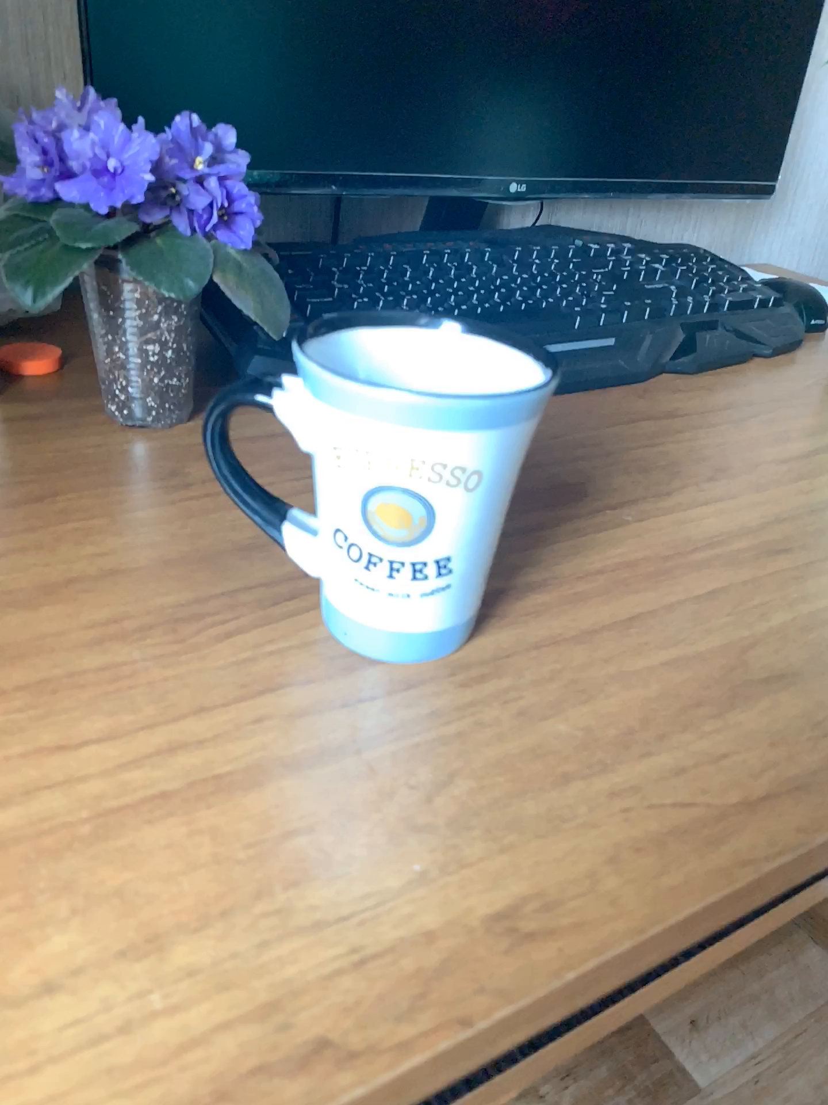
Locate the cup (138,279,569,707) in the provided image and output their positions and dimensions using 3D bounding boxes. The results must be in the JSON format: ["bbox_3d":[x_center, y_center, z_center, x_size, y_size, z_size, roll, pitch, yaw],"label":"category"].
[{"bbox_3d":[-0.015,-0.022,0.268,0.110,0.100,0.070,9,30,7],"label":"cup"}]
